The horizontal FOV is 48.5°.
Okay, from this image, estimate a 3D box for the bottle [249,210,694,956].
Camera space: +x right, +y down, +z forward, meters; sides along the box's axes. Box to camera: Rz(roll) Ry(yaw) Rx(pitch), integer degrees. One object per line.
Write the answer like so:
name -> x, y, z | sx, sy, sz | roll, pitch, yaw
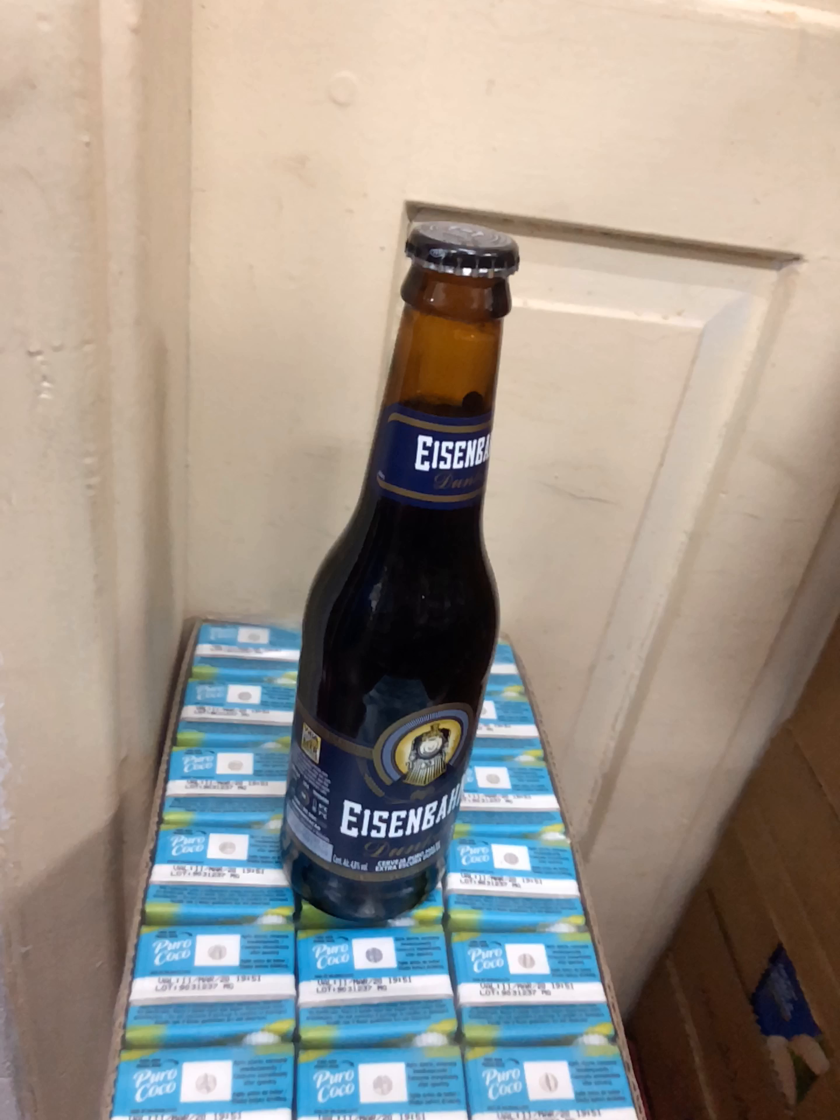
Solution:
bottle -> 0.000, 0.015, 0.259 | 0.070, 0.198, 0.060 | -7, 37, -25
